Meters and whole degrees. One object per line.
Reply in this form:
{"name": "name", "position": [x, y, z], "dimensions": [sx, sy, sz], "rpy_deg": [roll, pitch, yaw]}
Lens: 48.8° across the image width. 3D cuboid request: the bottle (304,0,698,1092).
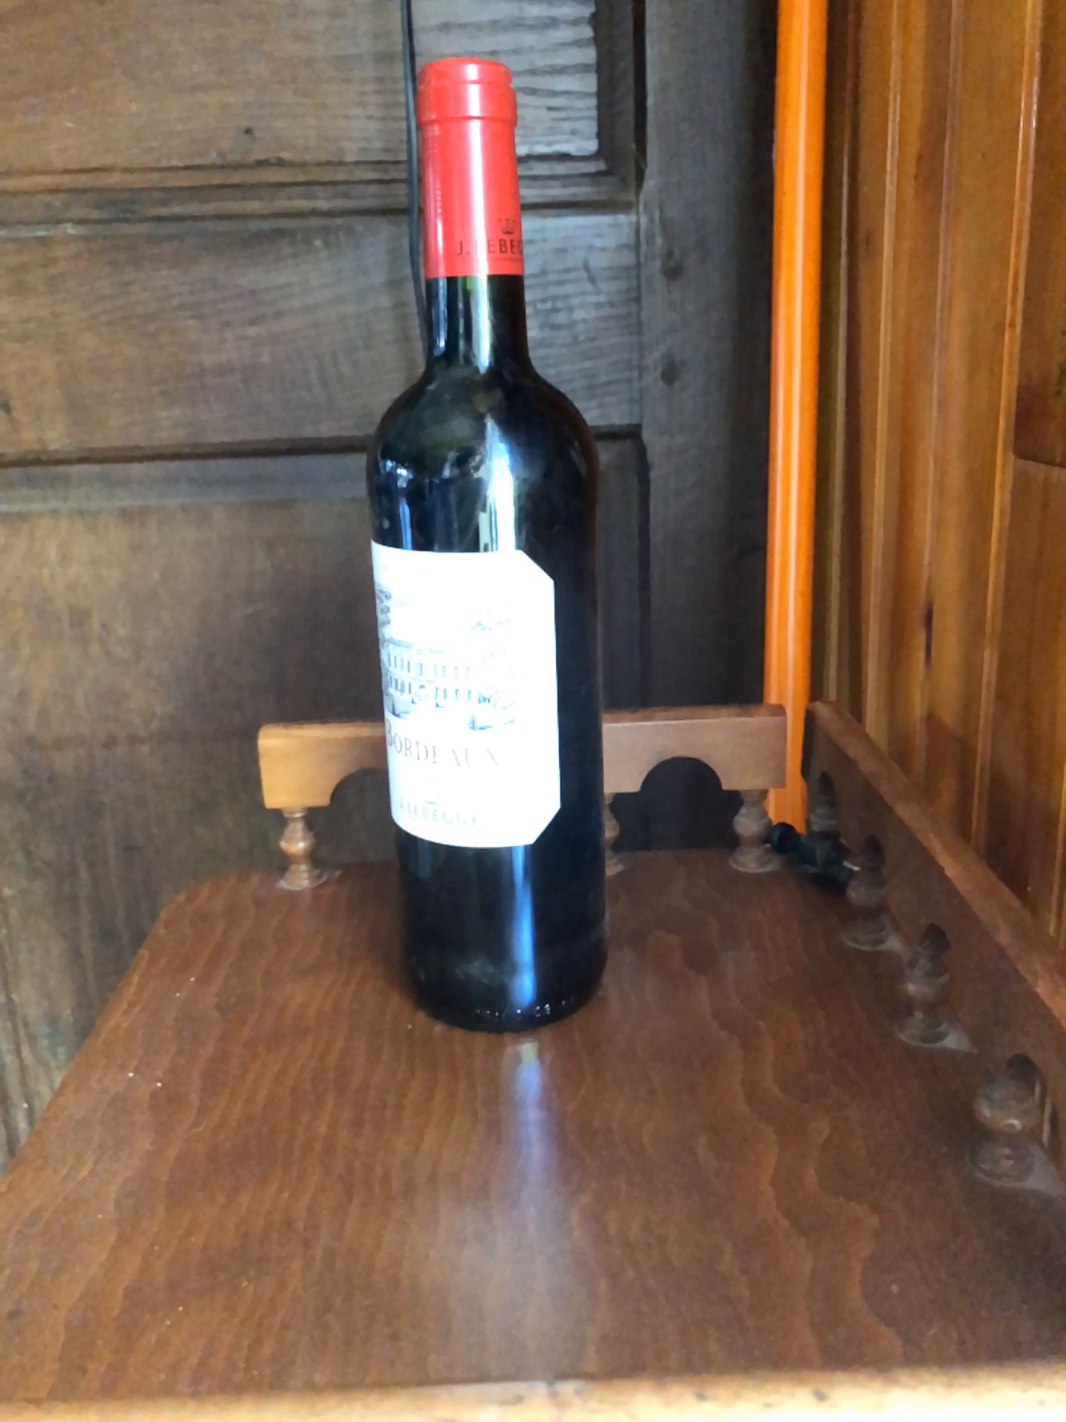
{"name": "bottle", "position": [-0.002, -0.043, 0.382], "dimensions": [0.080, 0.309, 0.080], "rpy_deg": [-2, 17, 1]}
